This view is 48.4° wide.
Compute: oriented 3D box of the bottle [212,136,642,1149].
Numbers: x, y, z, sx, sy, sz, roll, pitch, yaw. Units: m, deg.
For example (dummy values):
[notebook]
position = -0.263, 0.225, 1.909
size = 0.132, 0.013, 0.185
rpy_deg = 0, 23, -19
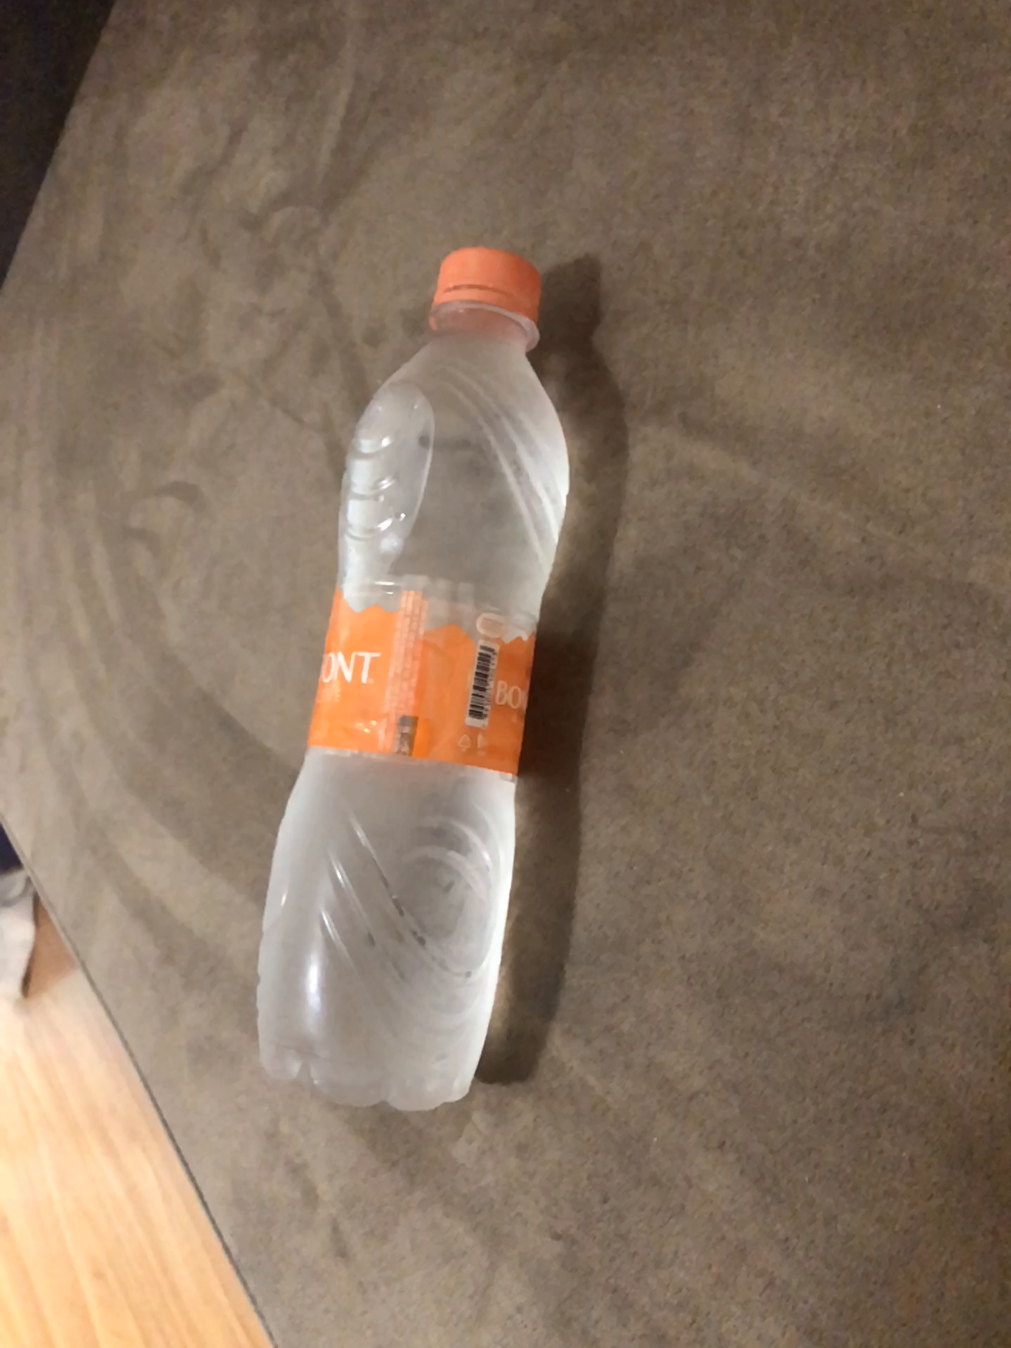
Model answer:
[bottle]
position = -0.020, -0.010, 0.303
size = 0.070, 0.050, 0.240
rpy_deg = 0, 80, 44
